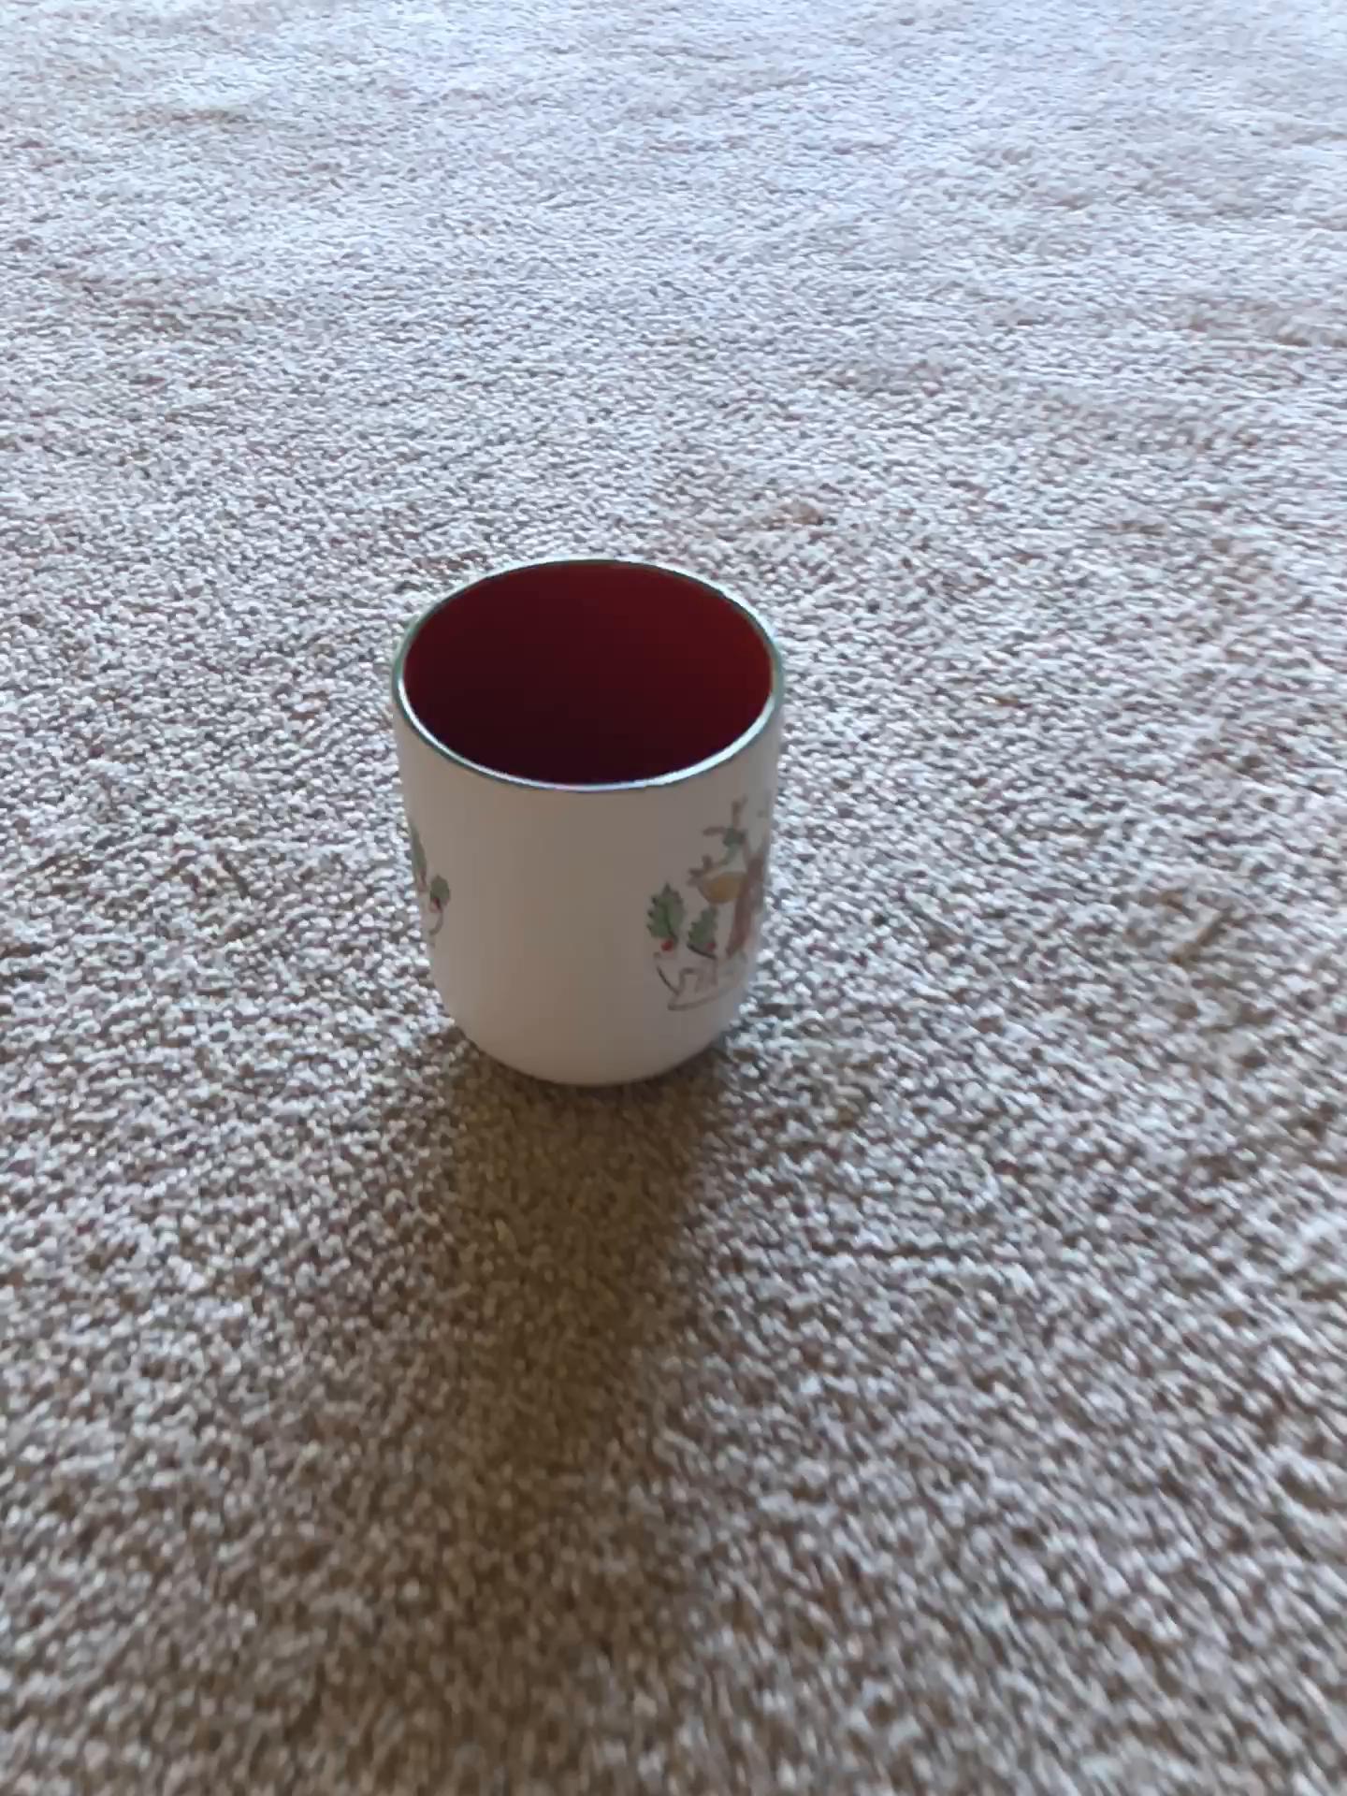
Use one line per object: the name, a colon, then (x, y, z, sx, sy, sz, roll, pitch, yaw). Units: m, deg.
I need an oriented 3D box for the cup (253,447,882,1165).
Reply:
cup: (-0.016, -0.029, 0.366, 0.100, 0.090, 0.141, 12, 47, 12)
